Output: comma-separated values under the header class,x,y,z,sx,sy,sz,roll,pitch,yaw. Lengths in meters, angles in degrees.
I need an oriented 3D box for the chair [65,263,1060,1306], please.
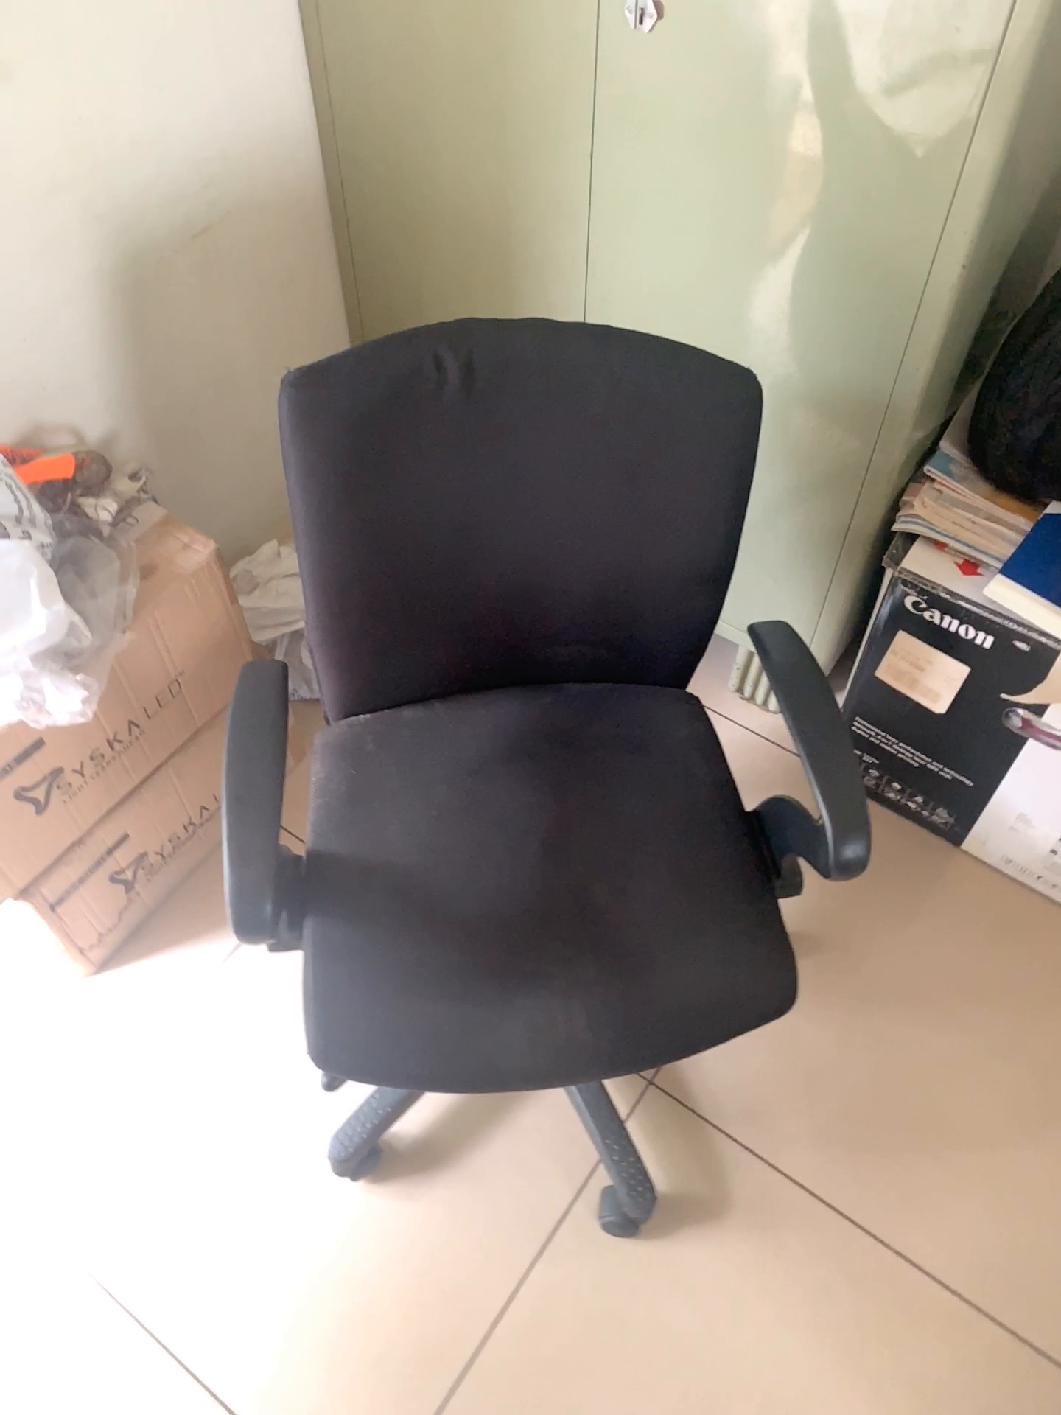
class,x,y,z,sx,sy,sz,roll,pitch,yaw
chair,0.022,0.149,1.221,0.700,0.927,0.702,-8,53,-6
